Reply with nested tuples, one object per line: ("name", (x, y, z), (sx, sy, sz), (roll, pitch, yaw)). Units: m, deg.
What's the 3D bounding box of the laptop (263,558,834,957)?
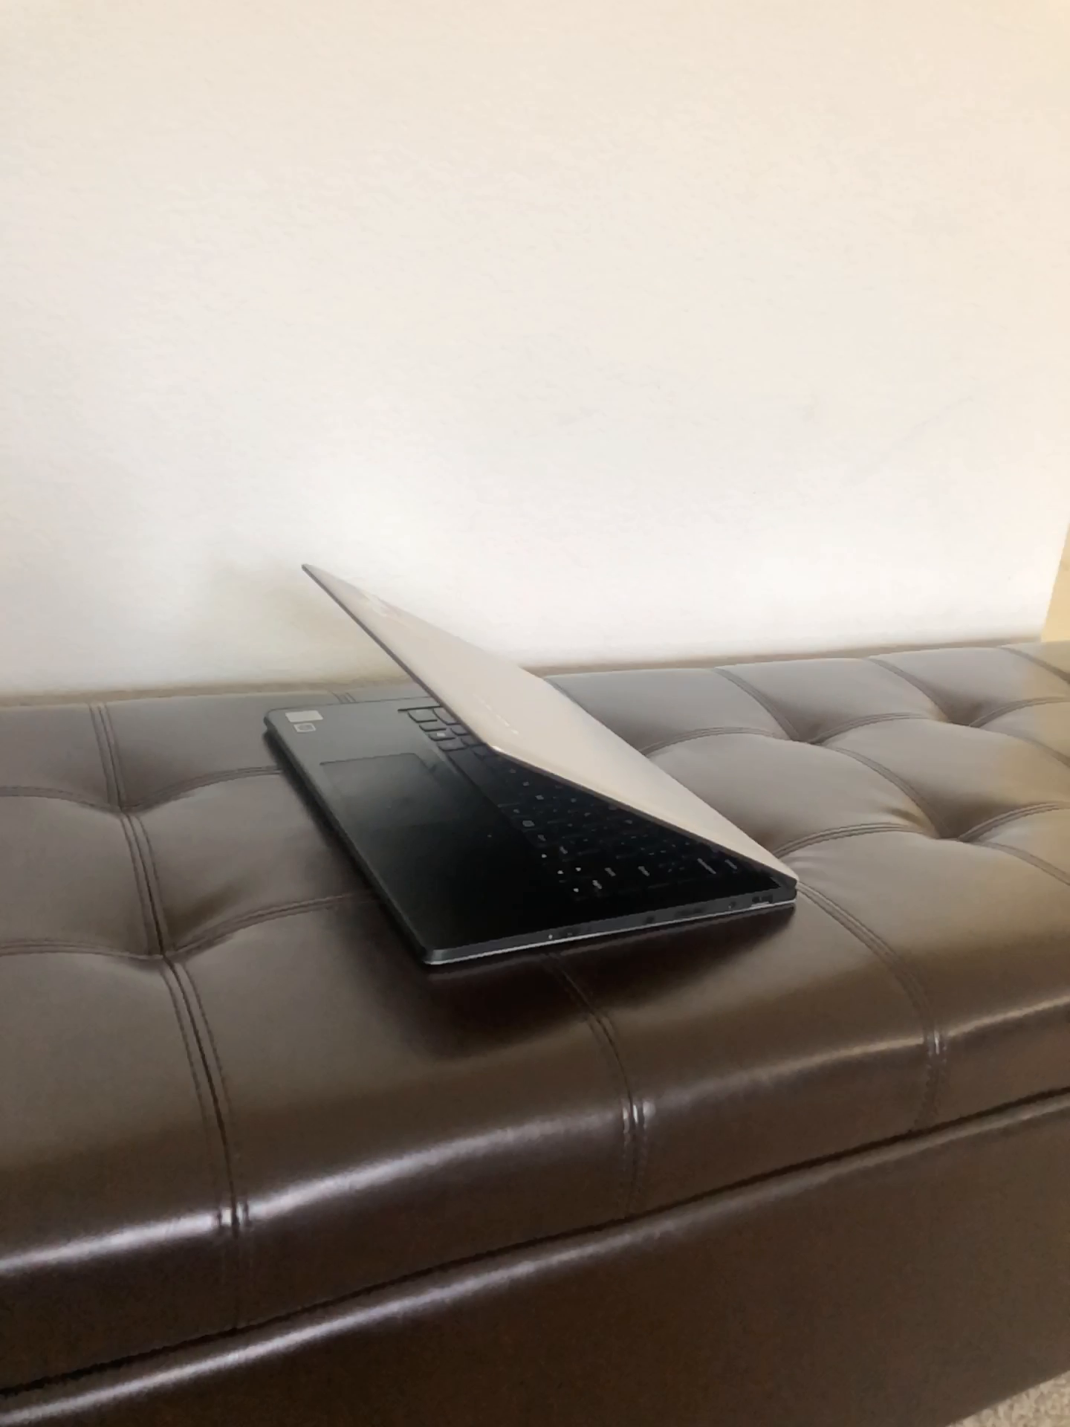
("laptop", (-0.015, 0.000, 0.659), (0.198, 0.097, 0.294), (-5, 24, -26))
